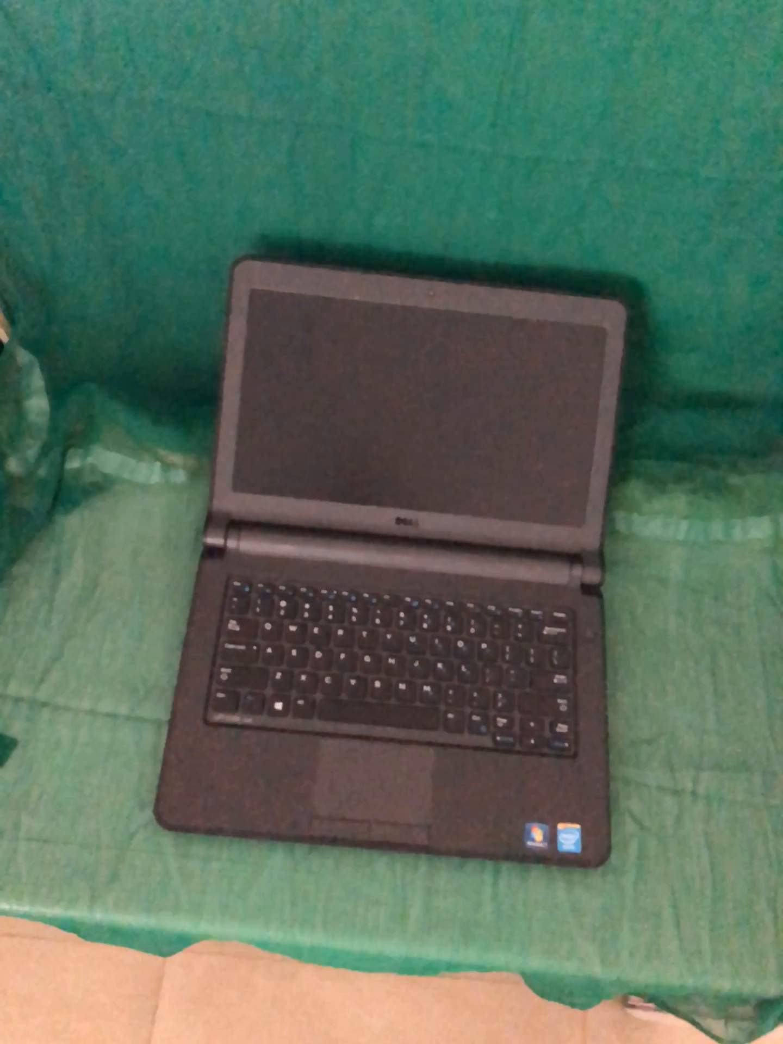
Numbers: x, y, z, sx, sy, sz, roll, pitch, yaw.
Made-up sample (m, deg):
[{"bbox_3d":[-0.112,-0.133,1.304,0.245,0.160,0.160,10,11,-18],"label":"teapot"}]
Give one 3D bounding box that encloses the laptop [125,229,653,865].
[{"bbox_3d":[0.014,0.006,0.631,0.311,0.096,0.420,6,67,-2],"label":"laptop"}]
